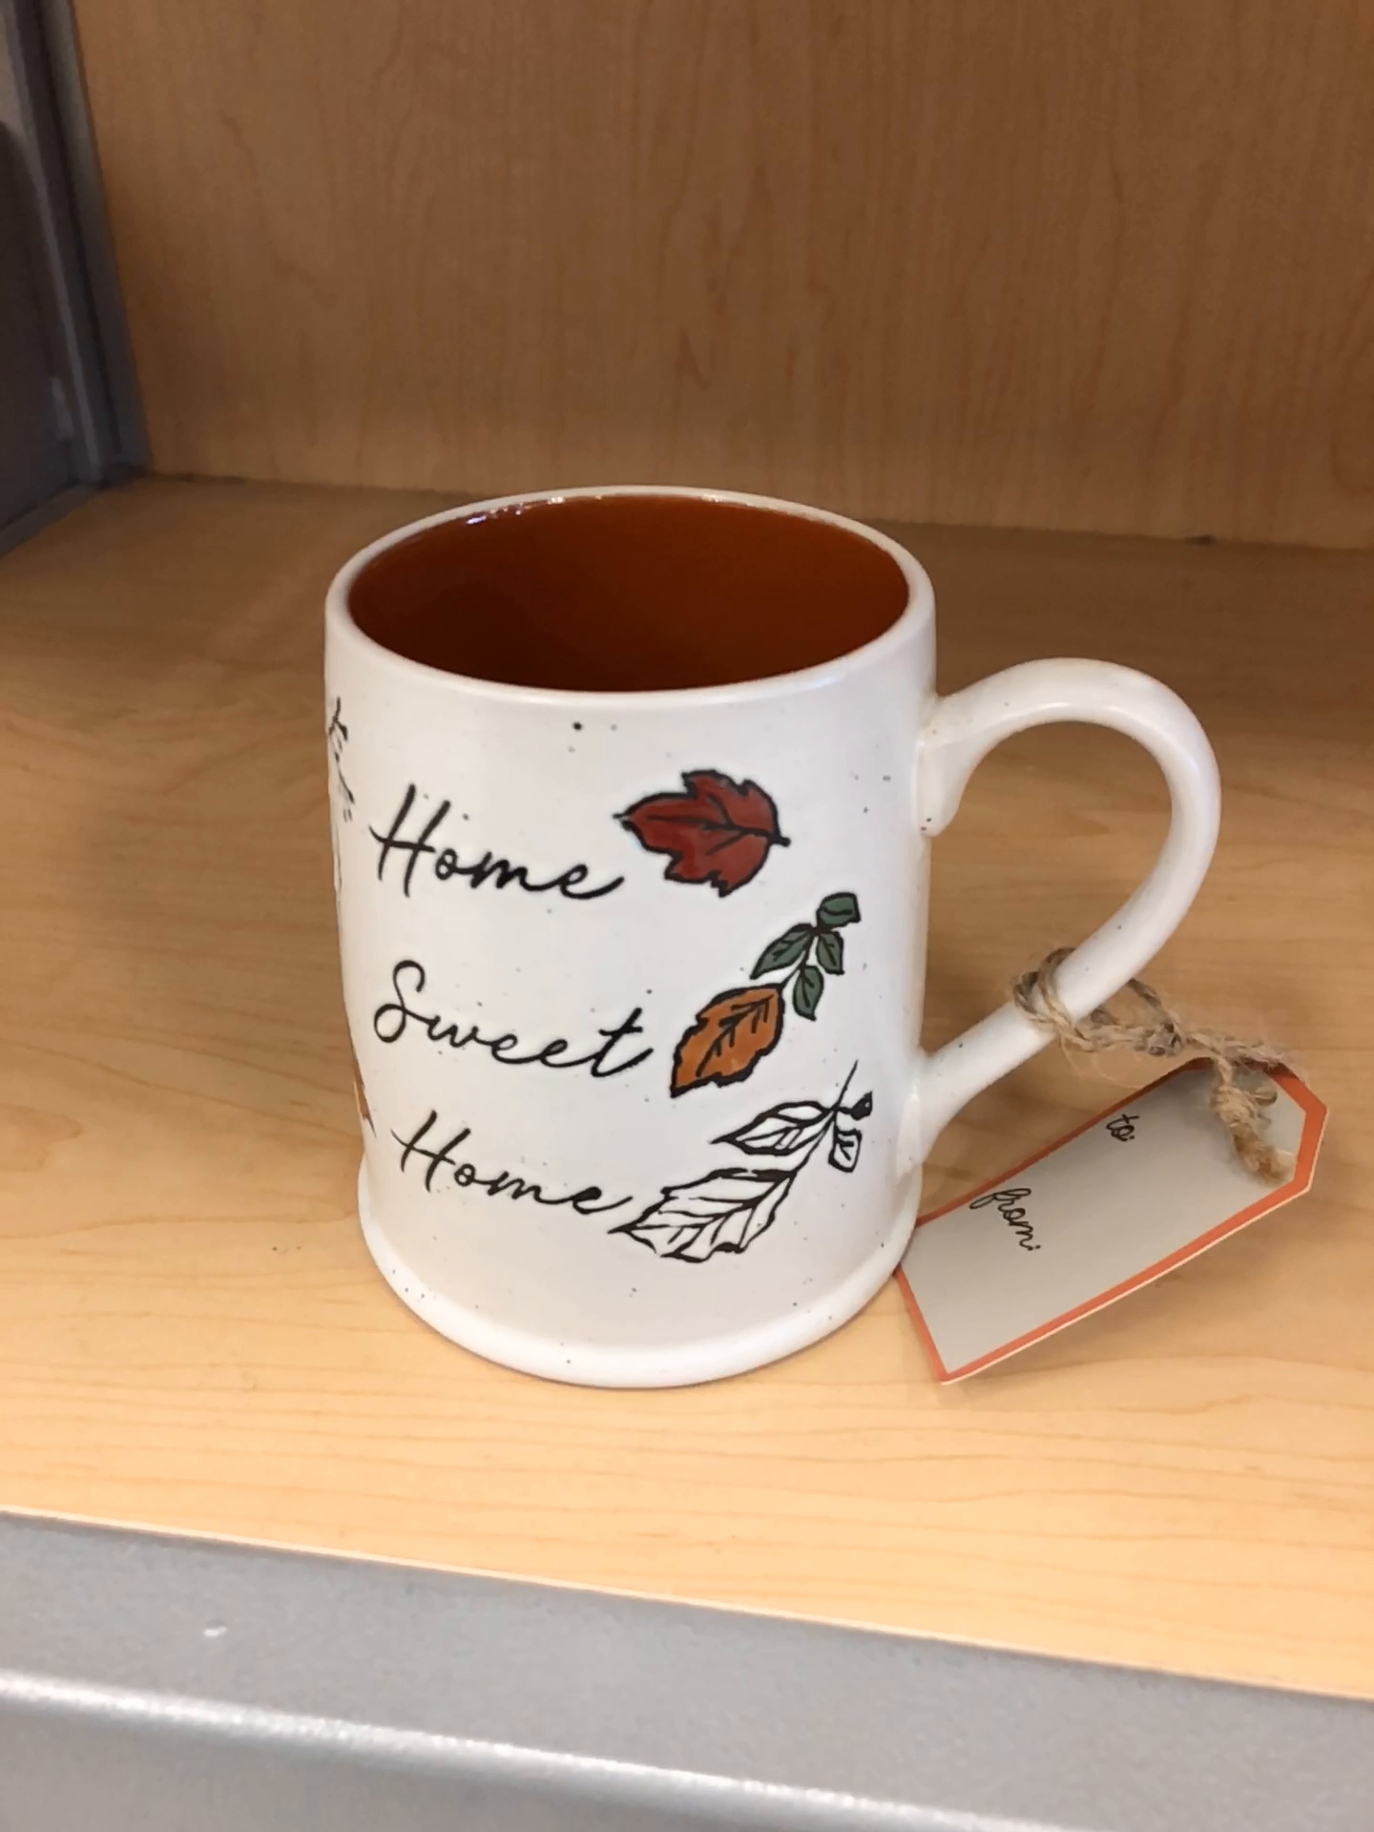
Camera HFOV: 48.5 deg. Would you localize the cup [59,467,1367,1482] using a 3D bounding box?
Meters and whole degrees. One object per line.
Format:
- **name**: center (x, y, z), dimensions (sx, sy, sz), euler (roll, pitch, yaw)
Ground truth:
- **cup**: center (0.004, 0.004, 0.205), dimensions (0.125, 0.099, 0.081), euler (4, 33, 6)
